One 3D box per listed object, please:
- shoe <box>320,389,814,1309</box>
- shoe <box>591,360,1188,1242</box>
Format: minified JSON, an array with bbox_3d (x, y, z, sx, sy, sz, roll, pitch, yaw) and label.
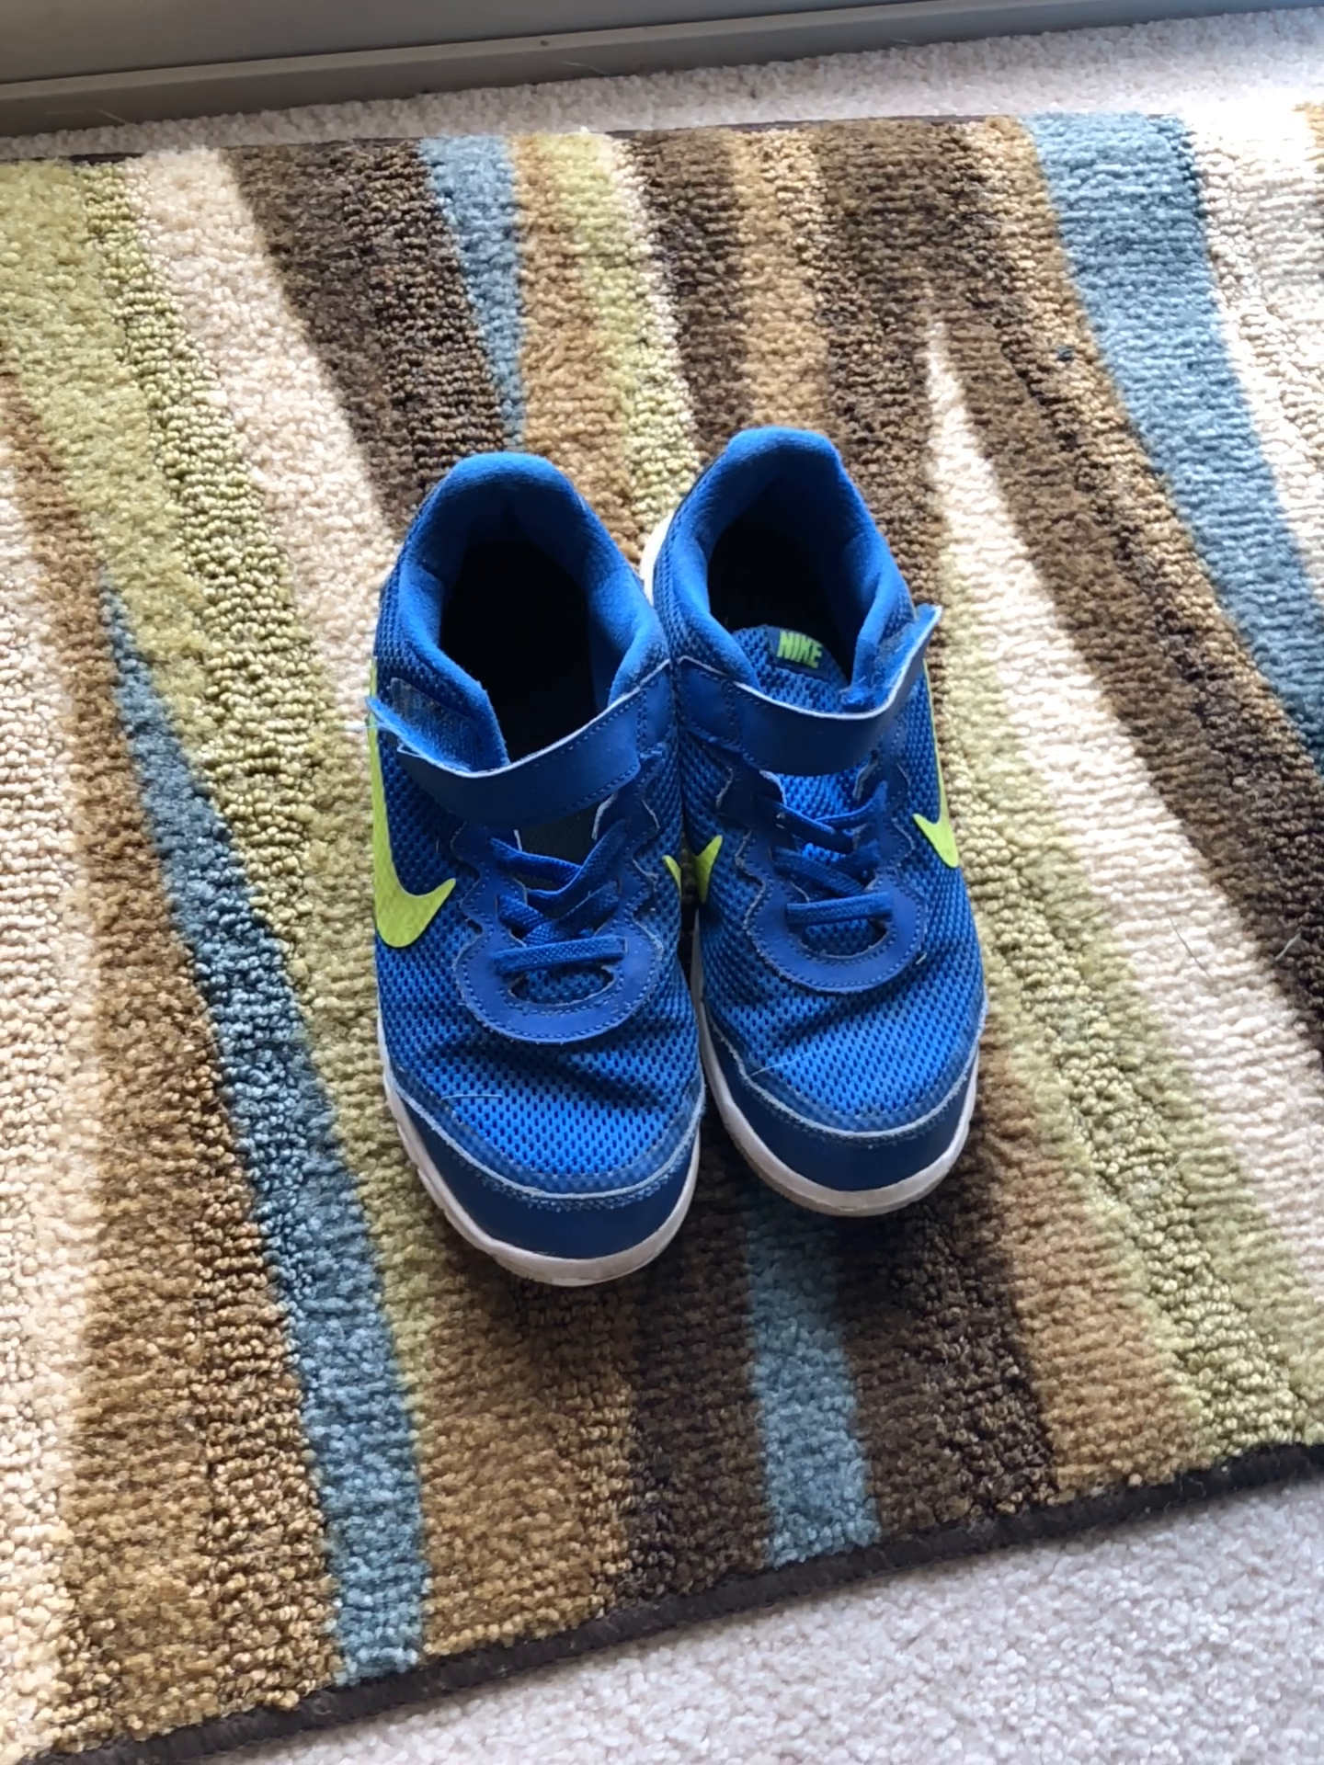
[{"bbox_3d":[-0.034,-0.012,0.398,0.102,0.075,0.233,-3,71,-11],"label":"shoe"},{"bbox_3d":[0.053,-0.026,0.417,0.103,0.075,0.231,-6,72,-12],"label":"shoe"}]
